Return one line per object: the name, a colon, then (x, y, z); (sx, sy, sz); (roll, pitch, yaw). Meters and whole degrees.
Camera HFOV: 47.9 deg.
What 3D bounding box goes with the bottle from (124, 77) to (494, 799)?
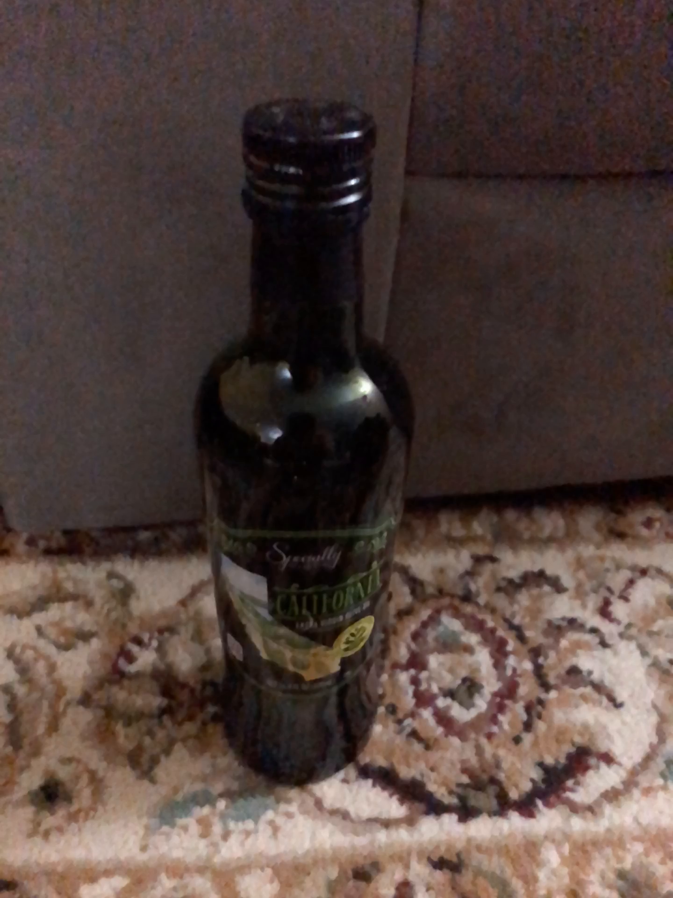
bottle: (-0.009, 0.018, 0.269); (0.080, 0.259, 0.070); (-4, 37, -6)
